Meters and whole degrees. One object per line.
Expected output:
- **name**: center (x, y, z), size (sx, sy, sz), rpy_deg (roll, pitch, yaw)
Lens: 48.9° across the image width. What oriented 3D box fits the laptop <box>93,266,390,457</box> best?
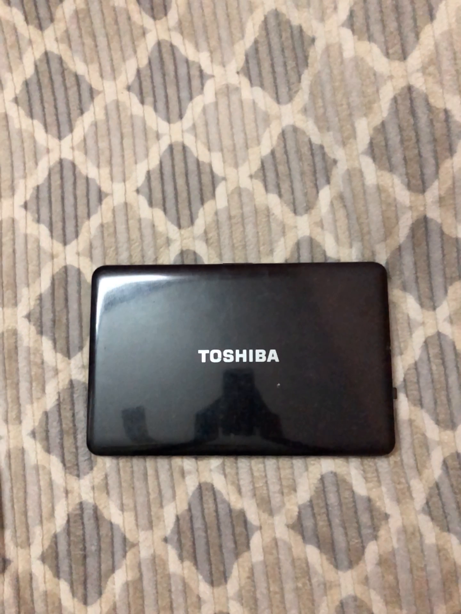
- **laptop**: center (0.010, 0.068, 0.678), size (0.375, 0.023, 0.248), rpy_deg (-1, 78, 2)
